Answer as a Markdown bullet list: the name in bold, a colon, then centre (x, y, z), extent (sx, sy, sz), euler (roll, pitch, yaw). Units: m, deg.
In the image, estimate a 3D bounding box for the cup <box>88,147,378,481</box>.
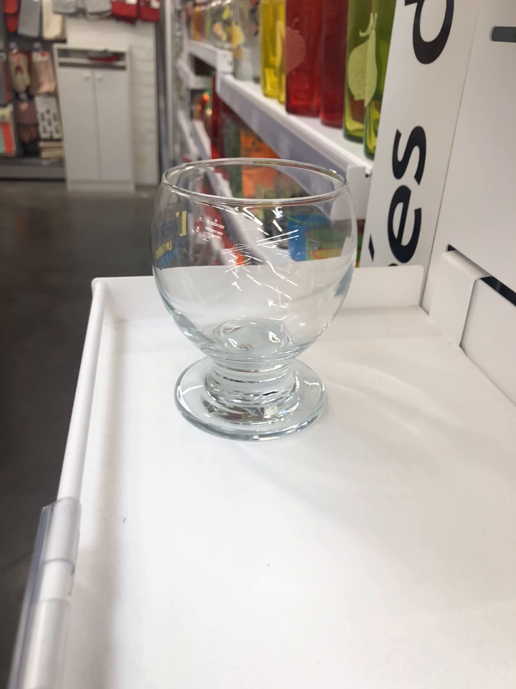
- **cup**: centre (-0.005, -0.017, 0.219), extent (0.078, 0.093, 0.074), euler (3, 28, -1)
